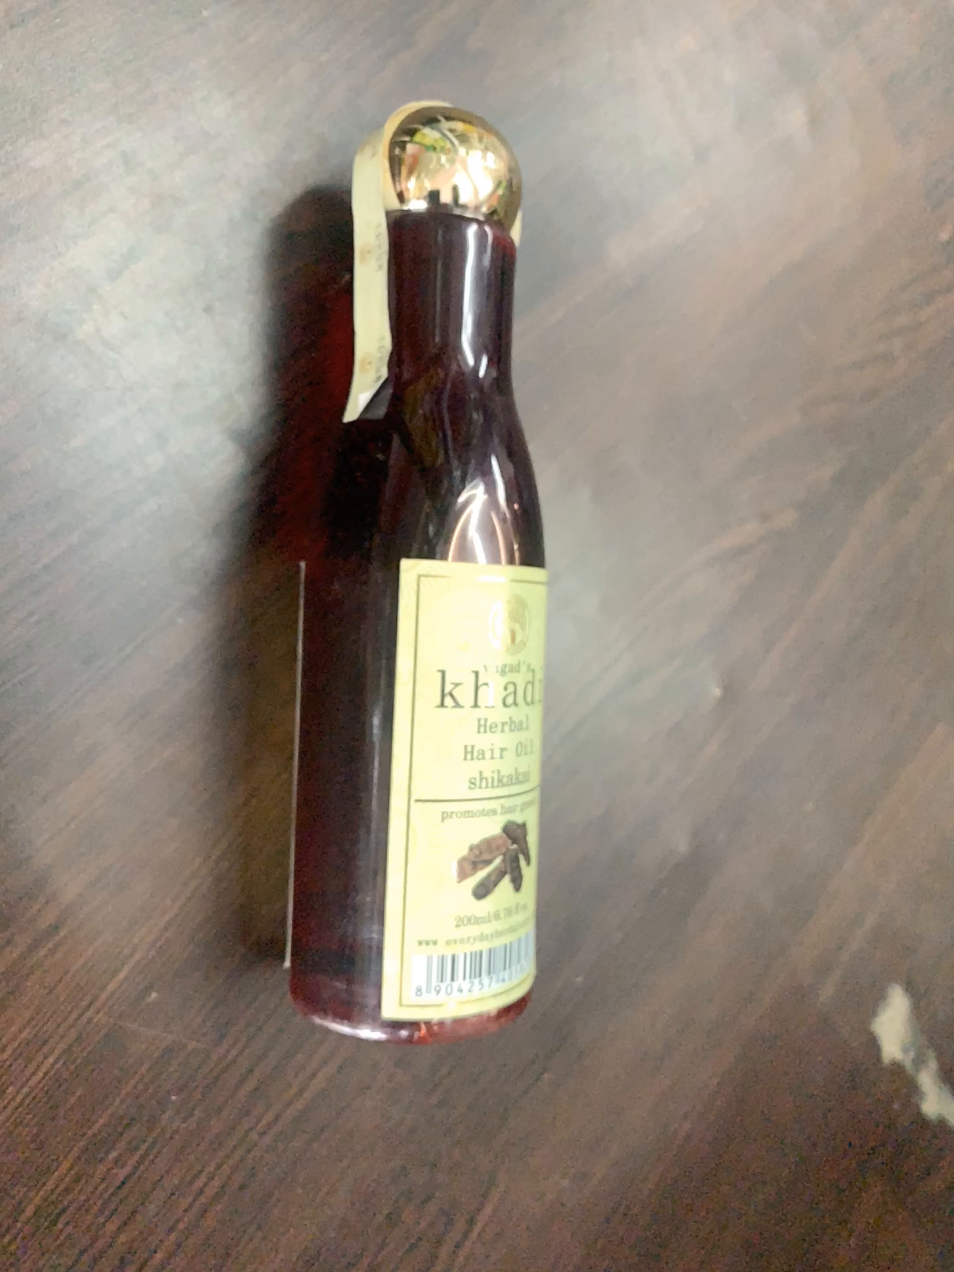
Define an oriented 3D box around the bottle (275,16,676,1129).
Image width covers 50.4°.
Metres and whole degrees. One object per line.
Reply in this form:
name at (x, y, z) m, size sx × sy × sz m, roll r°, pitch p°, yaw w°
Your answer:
bottle at (-0.001, -0.009, 0.190) m, size 0.050 × 0.050 × 0.170 m, roll 1°, pitch 91°, yaw -39°
